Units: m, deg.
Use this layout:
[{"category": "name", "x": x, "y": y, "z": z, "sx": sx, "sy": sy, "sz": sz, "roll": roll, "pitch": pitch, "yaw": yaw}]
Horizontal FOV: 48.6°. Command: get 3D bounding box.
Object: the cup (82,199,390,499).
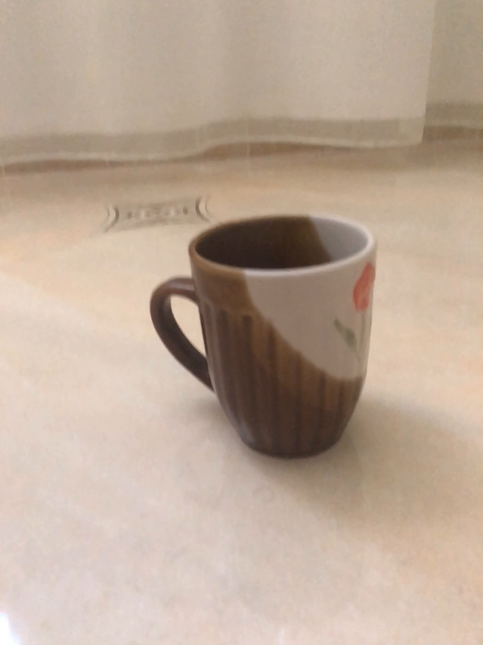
[{"category": "cup", "x": -0.001, "y": 0.001, "z": 0.239, "sx": 0.104, "sy": 0.086, "sz": 0.076, "roll": 17, "pitch": 33, "yaw": 37}]
